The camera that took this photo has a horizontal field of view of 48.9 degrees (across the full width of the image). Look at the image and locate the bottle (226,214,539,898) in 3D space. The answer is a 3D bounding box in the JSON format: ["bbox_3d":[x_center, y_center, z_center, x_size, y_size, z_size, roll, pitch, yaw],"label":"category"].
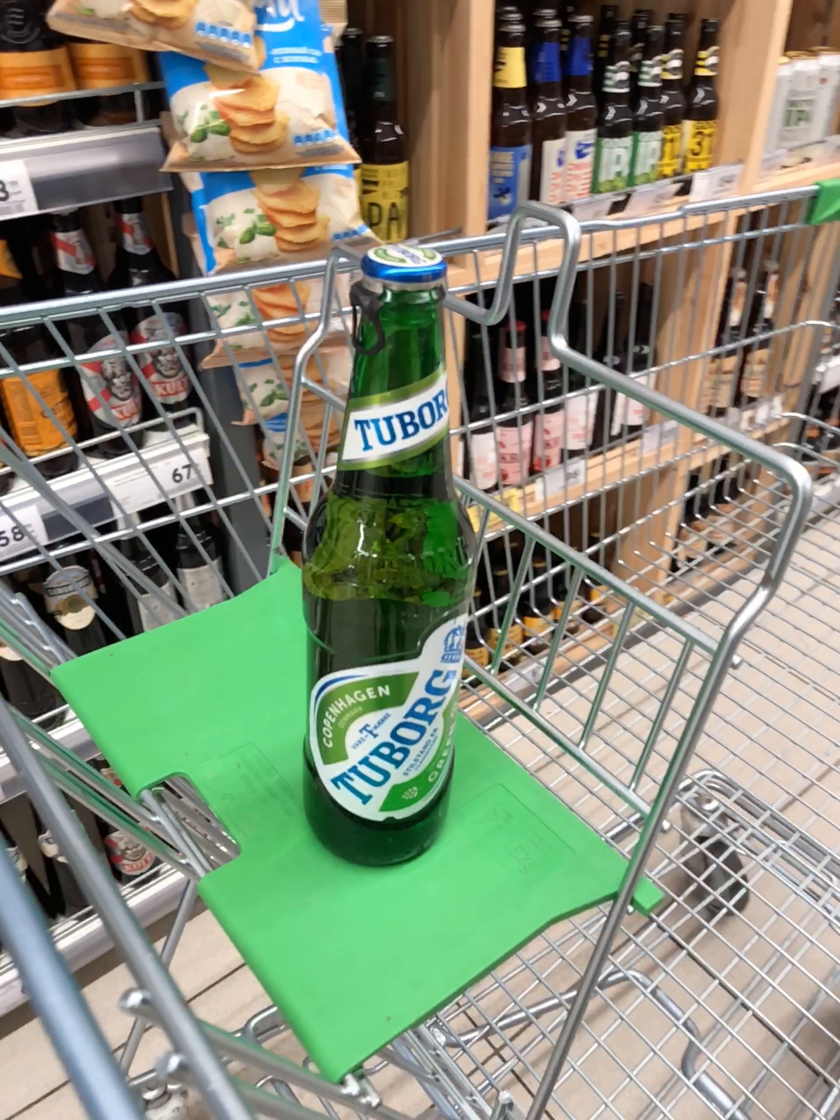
[{"bbox_3d":[-0.018,0.013,0.350,0.080,0.258,0.070,-7,37,-12],"label":"bottle"}]
